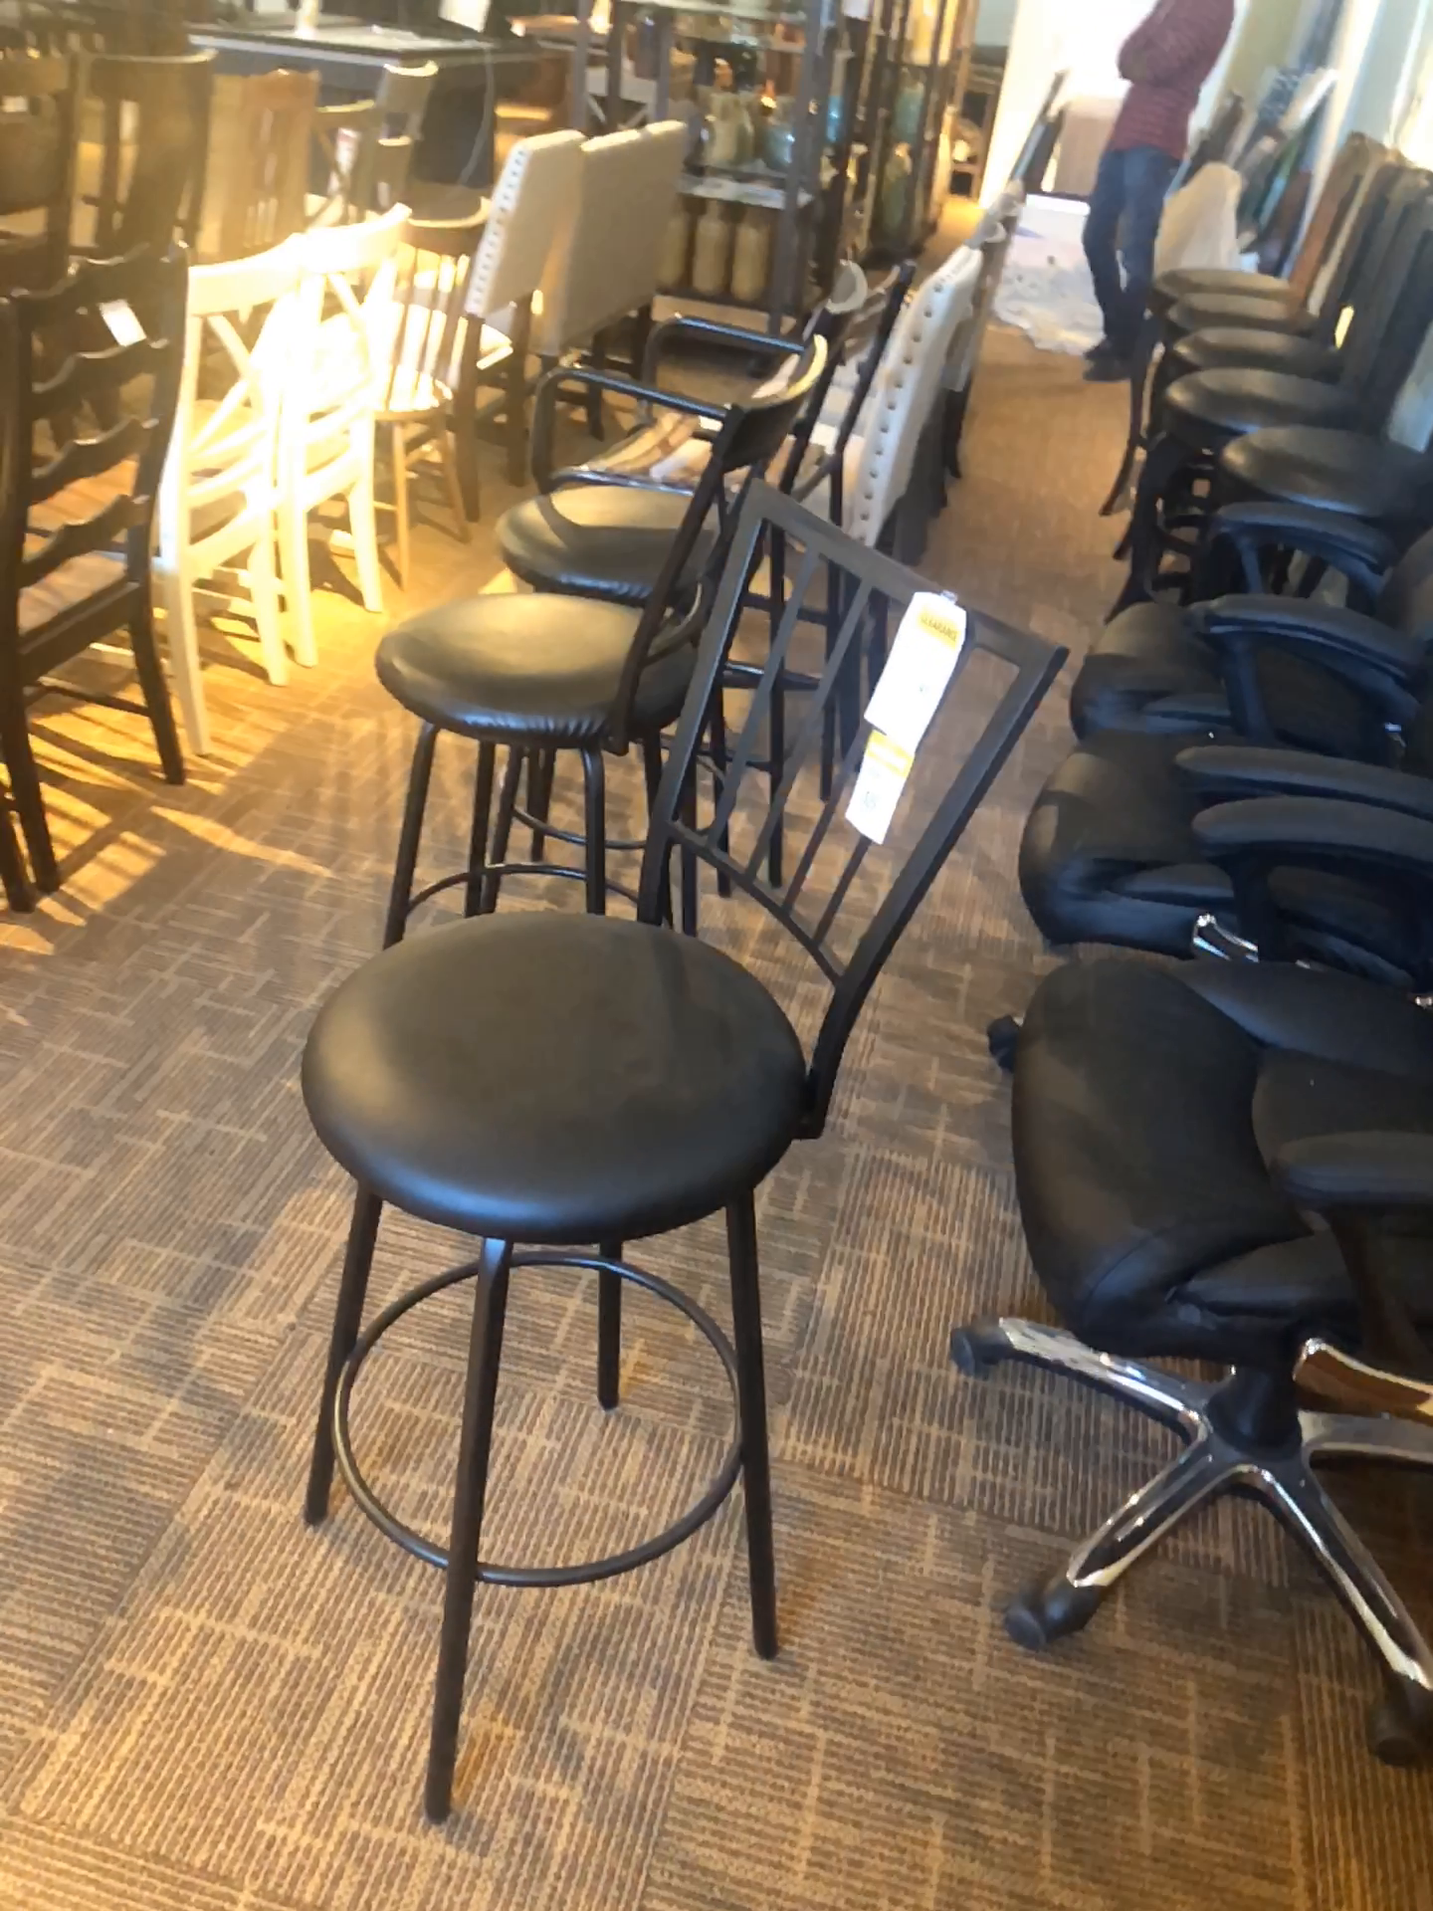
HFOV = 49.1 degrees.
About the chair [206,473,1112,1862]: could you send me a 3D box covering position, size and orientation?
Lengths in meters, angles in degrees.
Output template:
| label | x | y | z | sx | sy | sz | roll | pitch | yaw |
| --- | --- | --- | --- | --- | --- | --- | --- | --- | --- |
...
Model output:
| label | x | y | z | sx | sy | sz | roll | pitch | yaw |
| --- | --- | --- | --- | --- | --- | --- | --- | --- | --- |
| chair | -0.110 | 0.193 | 1.373 | 0.481 | 1.074 | 0.431 | -13 | 38 | -30 |
